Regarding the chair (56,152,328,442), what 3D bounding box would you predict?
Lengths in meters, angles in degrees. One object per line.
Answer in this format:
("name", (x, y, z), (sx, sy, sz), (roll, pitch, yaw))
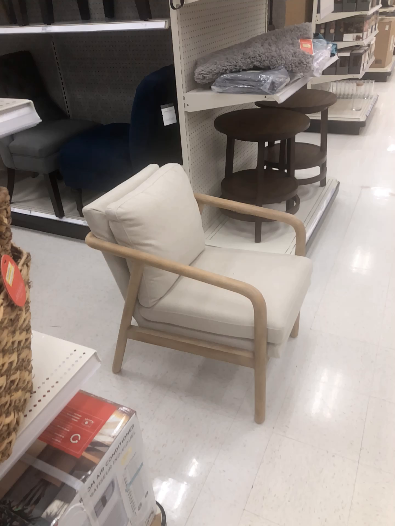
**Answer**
("chair", (0.028, 0.081, 1.702), (0.761, 0.806, 0.583), (12, 35, 24))
